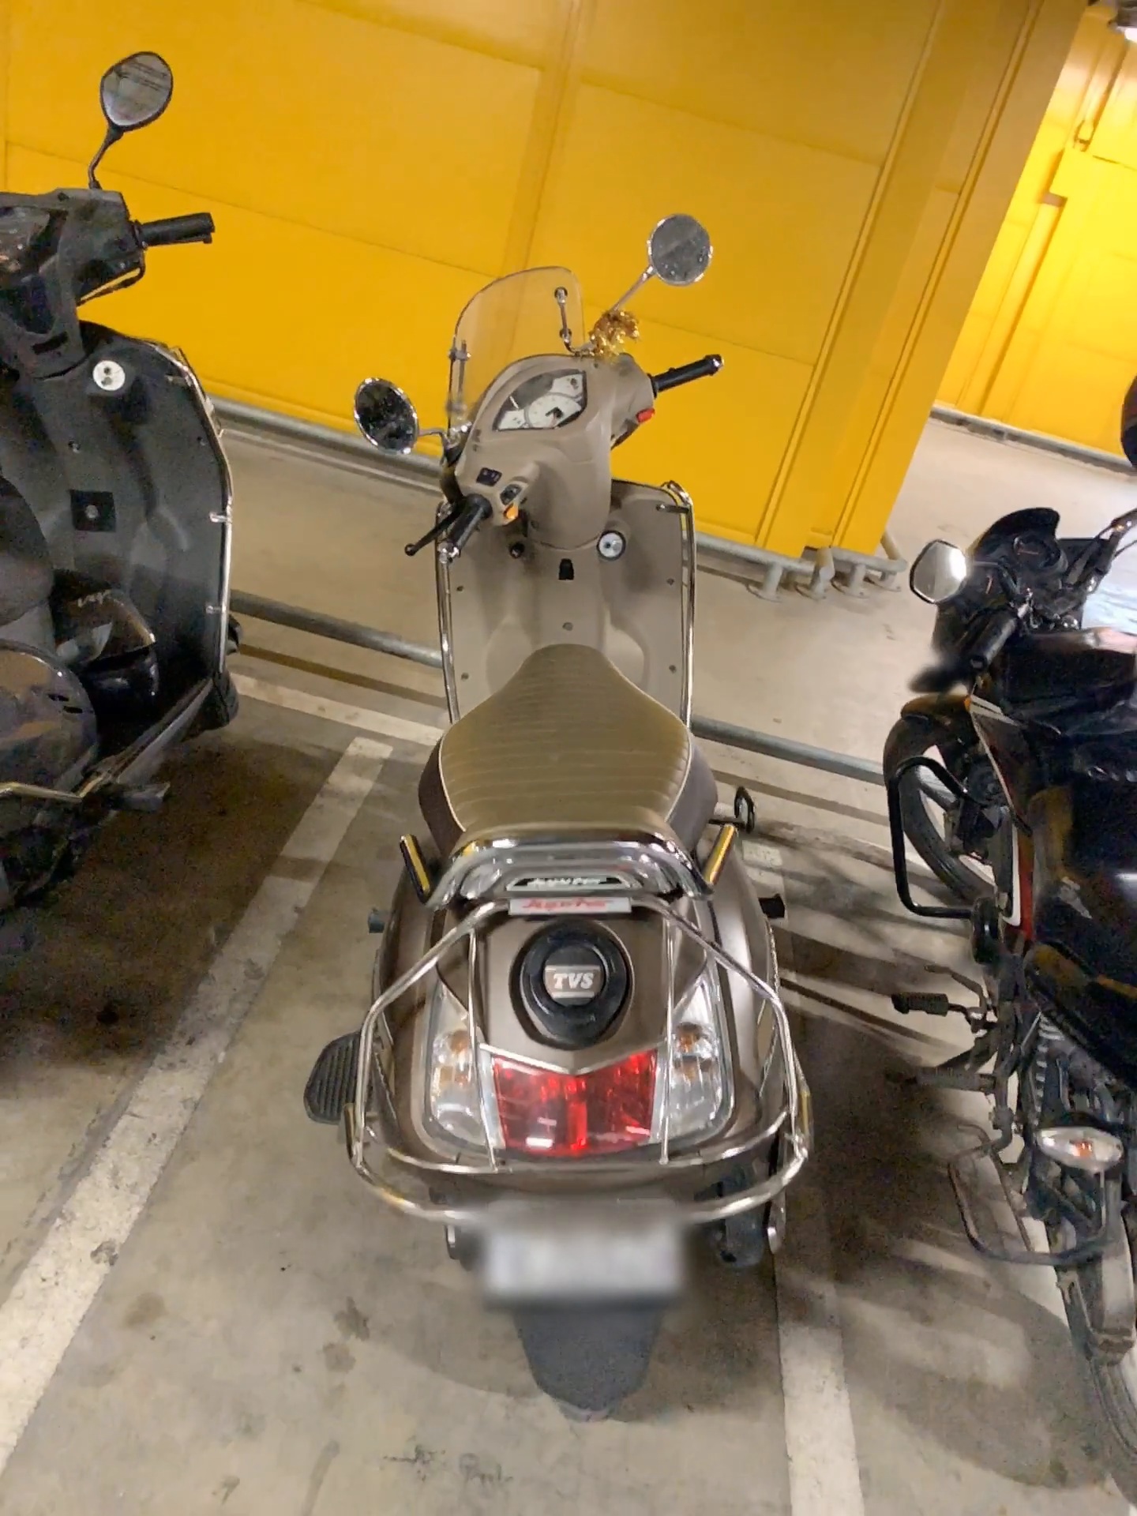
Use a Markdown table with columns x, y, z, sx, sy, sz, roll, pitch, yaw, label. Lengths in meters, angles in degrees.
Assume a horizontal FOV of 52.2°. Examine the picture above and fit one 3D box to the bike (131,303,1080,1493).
| x | y | z | sx | sy | sz | roll | pitch | yaw | label |
| --- | --- | --- | --- | --- | --- | --- | --- | --- | --- |
| -0.131 | 0.000 | 1.730 | 0.603 | 1.028 | 1.561 | 10 | 25 | -12 | bike |
